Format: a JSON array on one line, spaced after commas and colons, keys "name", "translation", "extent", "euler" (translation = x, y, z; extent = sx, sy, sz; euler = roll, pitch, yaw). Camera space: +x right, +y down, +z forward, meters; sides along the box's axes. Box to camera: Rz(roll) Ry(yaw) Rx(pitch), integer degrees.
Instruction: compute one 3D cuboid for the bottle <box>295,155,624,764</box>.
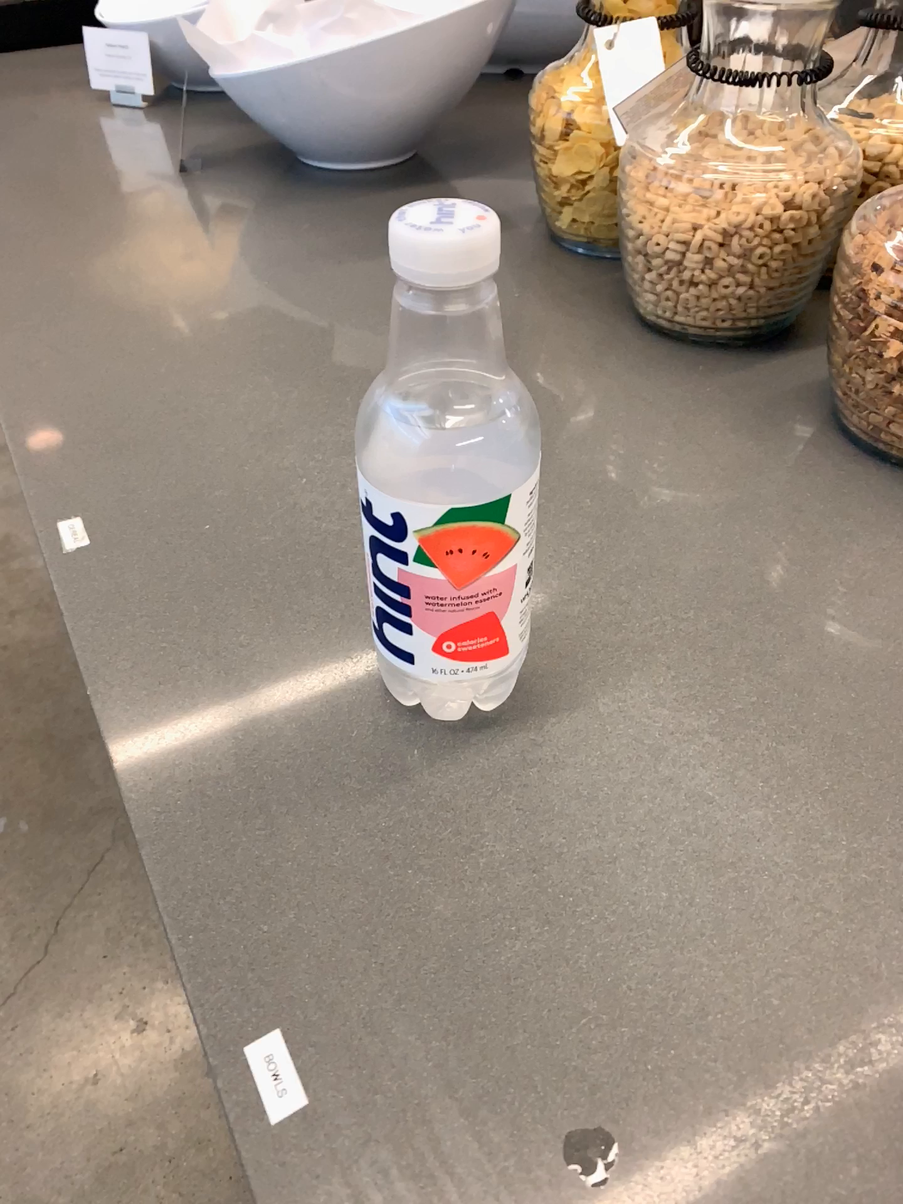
[{"name": "bottle", "translation": [0.002, -0.042, 0.340], "extent": [0.070, 0.199, 0.070], "euler": [0, 42, 0]}]
